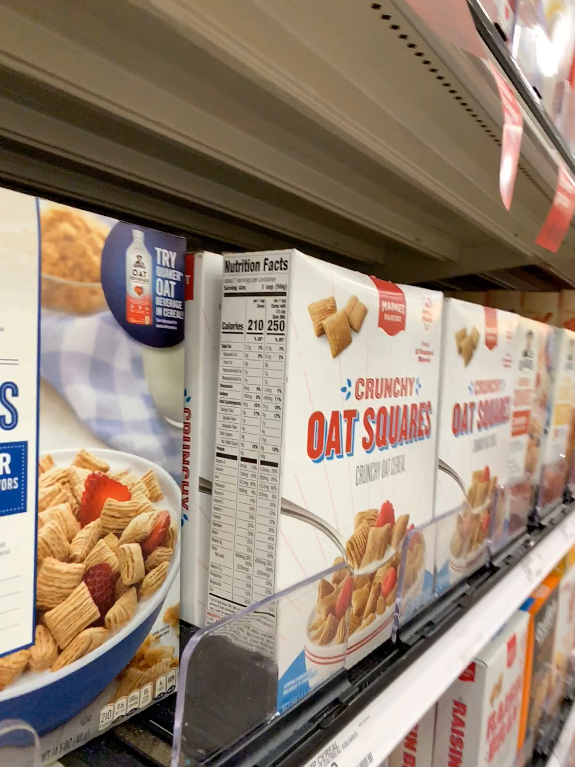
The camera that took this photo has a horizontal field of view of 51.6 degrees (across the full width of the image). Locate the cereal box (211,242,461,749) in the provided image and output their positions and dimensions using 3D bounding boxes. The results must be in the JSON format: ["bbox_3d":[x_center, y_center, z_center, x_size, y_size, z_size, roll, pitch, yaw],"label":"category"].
[{"bbox_3d":[0.044,0.054,0.387,0.060,0.250,0.190,5,3,34],"label":"cereal box"}]
